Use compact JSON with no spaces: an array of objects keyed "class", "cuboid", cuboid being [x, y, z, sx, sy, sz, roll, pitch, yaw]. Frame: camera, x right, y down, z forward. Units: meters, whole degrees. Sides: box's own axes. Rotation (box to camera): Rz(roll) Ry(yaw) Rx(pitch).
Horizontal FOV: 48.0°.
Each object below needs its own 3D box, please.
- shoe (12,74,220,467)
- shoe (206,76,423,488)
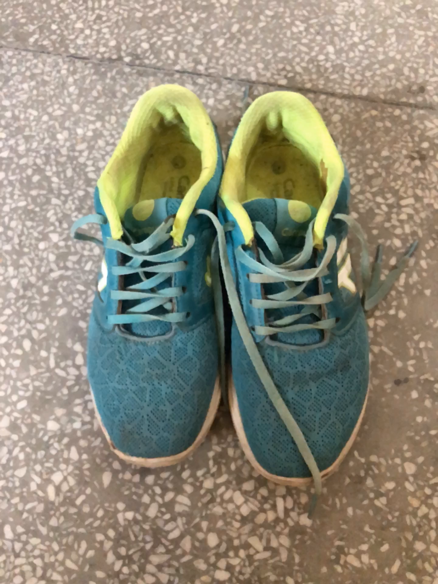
[{"class":"shoe","cuboid":[-0.049,-0.011,0.314,0.091,0.092,0.230,-1,71,4]},{"class":"shoe","cuboid":[0.045,-0.006,0.303,0.094,0.088,0.229,-2,71,3]}]
